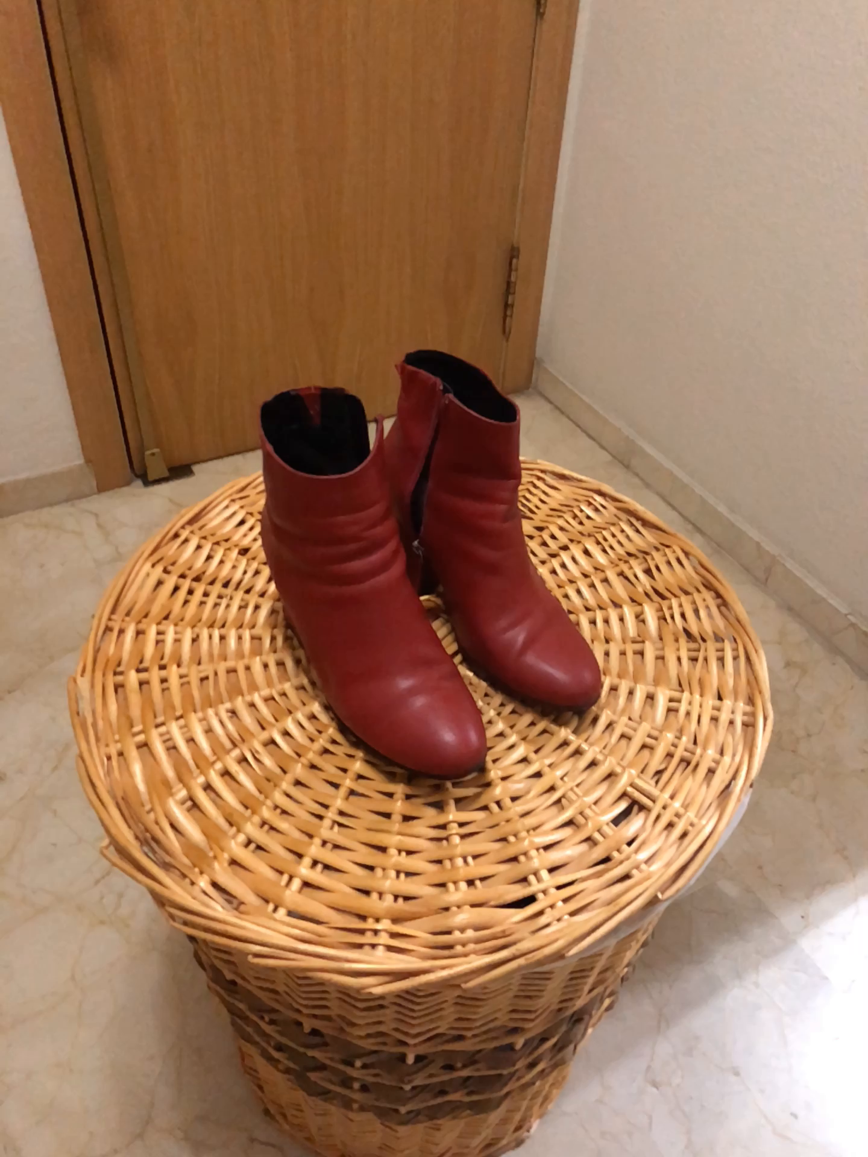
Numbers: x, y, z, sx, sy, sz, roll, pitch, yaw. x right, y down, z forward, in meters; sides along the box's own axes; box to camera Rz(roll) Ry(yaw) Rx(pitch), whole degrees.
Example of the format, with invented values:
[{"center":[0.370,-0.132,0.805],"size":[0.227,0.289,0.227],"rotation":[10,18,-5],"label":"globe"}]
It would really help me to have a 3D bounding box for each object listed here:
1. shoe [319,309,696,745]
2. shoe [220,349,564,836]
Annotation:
[{"center":[0.034,-0.043,0.666],"size":[0.099,0.184,0.245],"rotation":[-28,50,-30],"label":"shoe"},{"center":[-0.039,0.000,0.615],"size":[0.099,0.184,0.245],"rotation":[-19,46,-23],"label":"shoe"}]
